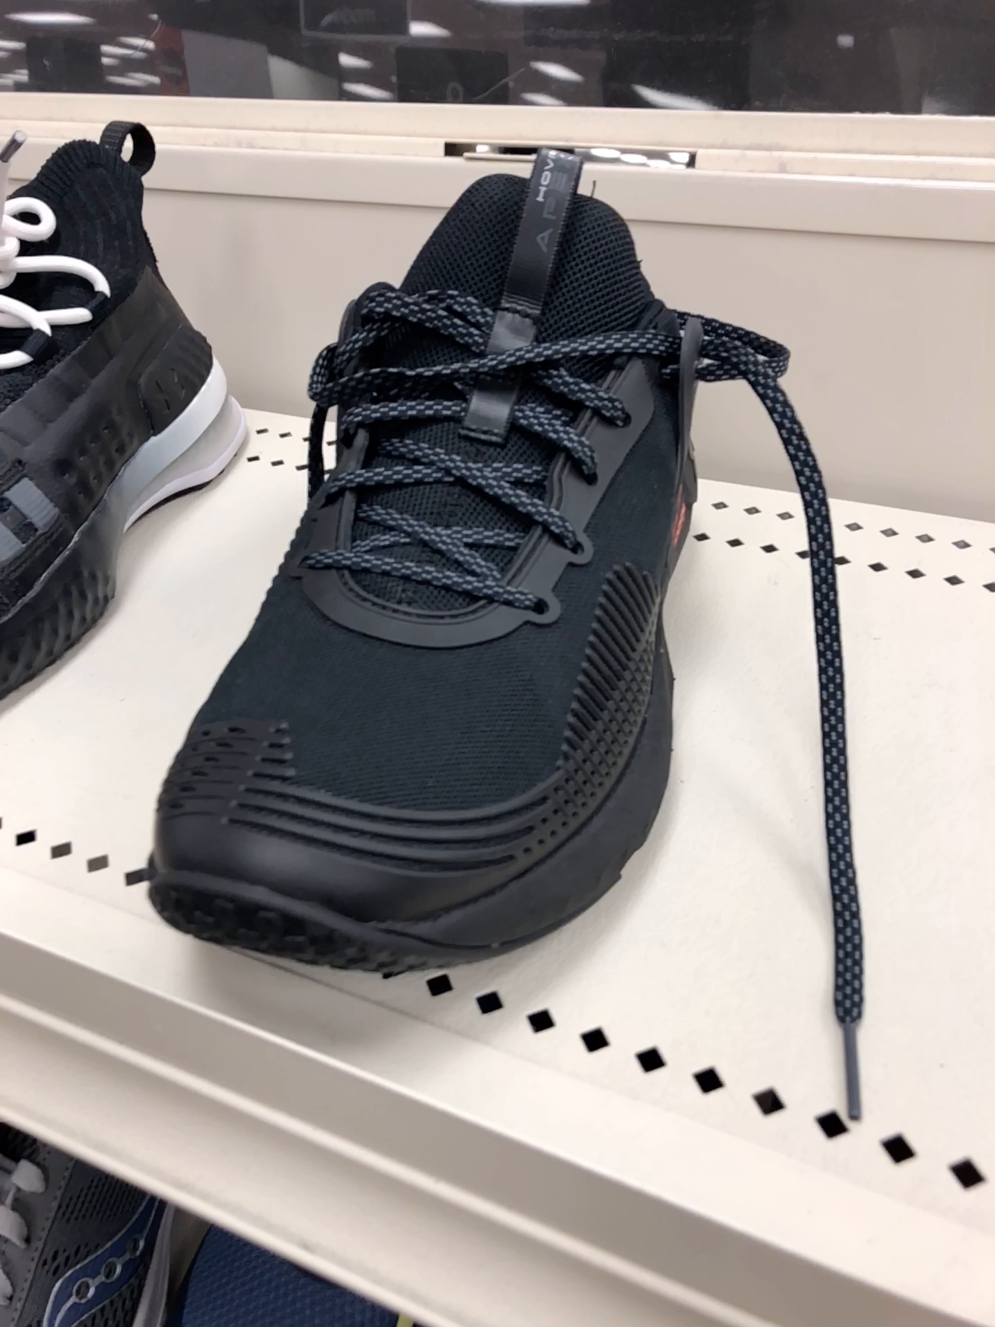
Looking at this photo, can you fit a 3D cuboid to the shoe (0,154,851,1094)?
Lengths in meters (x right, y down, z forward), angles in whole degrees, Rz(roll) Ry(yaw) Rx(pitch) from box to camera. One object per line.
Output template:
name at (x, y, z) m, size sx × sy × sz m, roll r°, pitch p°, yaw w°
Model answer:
shoe at (0.017, -0.068, 0.336) m, size 0.120 × 0.129 × 0.353 m, roll 11°, pitch 31°, yaw 18°
